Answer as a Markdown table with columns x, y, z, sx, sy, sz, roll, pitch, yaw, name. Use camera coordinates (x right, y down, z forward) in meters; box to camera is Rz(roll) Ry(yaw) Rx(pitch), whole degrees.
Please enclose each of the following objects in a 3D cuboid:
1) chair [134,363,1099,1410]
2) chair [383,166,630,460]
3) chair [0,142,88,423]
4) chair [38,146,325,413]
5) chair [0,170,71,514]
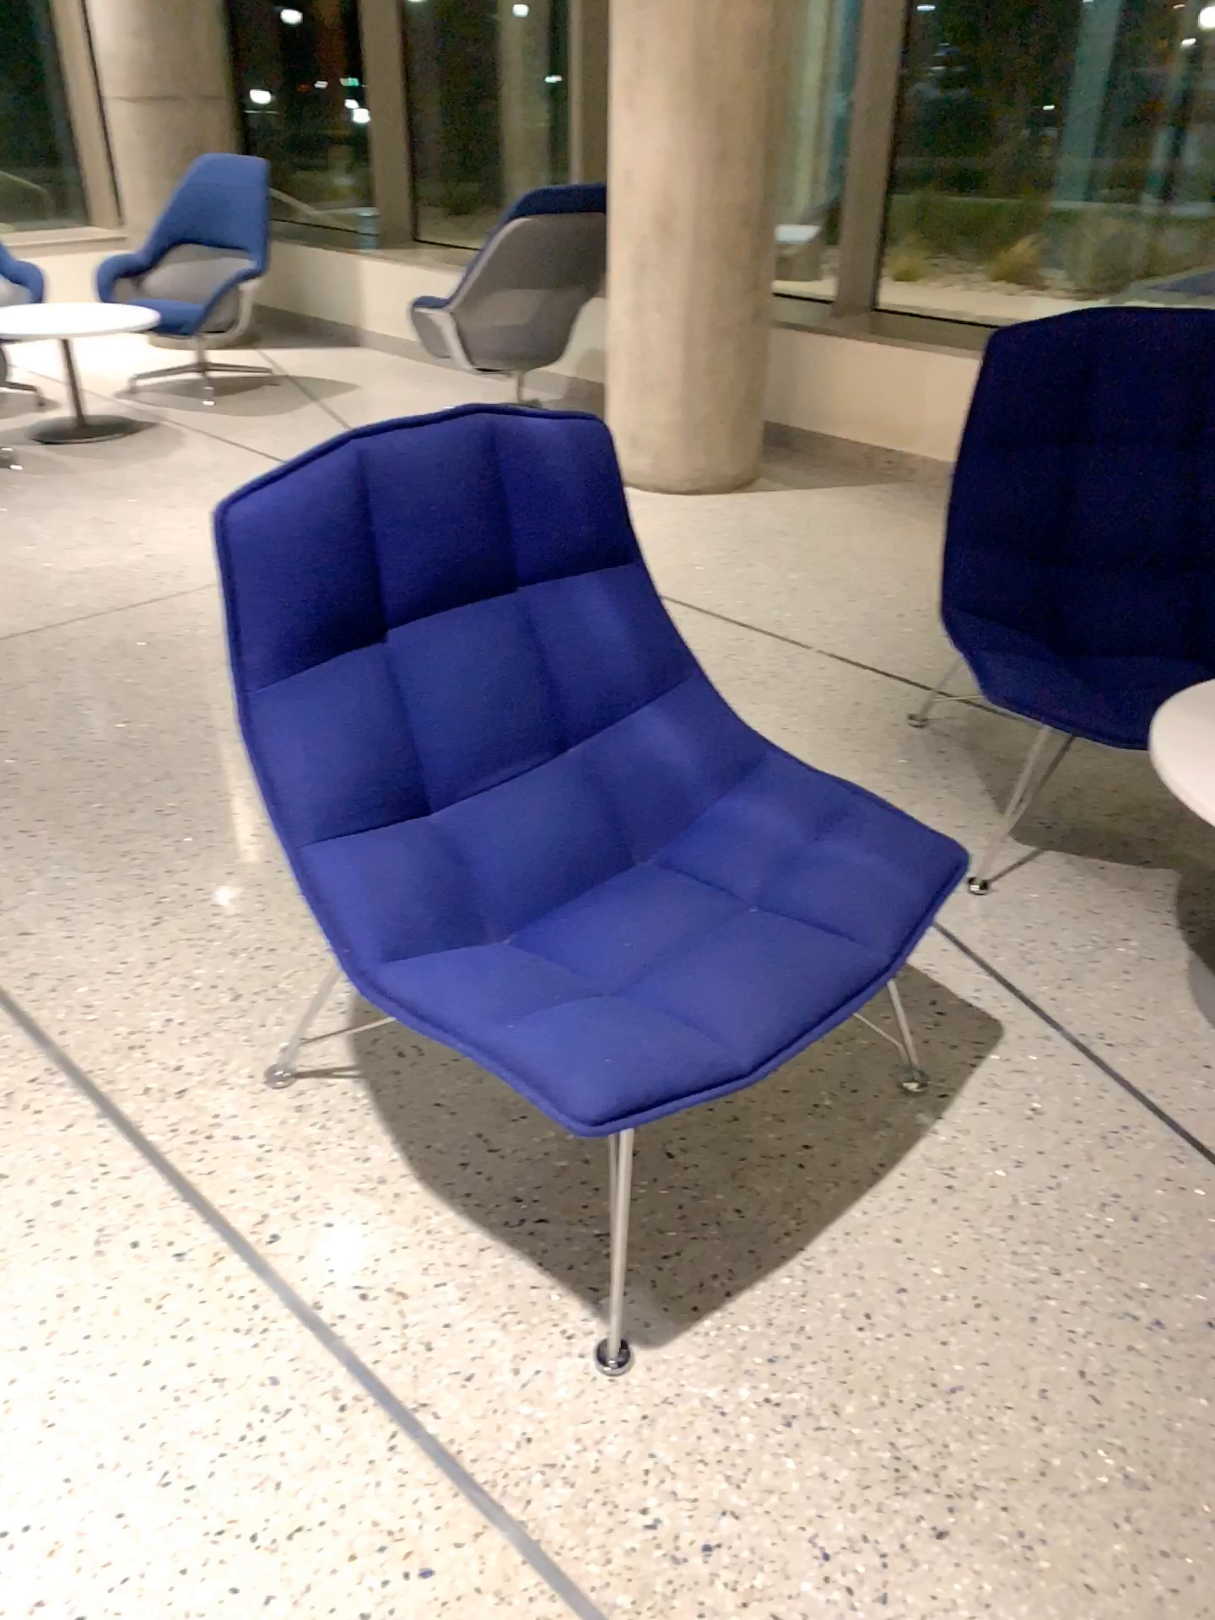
| x | y | z | sx | sy | sz | roll | pitch | yaw | name |
| --- | --- | --- | --- | --- | --- | --- | --- | --- | --- |
| 0.012 | -0.004 | 1.673 | 0.783 | 0.932 | 0.811 | 27 | 39 | 37 | chair |
| -0.415 | -2.062 | 5.086 | 0.642 | 0.962 | 0.774 | -21 | 38 | -33 | chair |
| -2.754 | -2.207 | 5.128 | 0.773 | 0.942 | 0.673 | 25 | 38 | 35 | chair |
| -1.876 | -2.412 | 5.581 | 0.782 | 0.972 | 0.765 | 17 | 34 | 25 | chair |
| -2.518 | -1.651 | 4.280 | 0.803 | 0.932 | 0.774 | 24 | 38 | 34 | chair |
